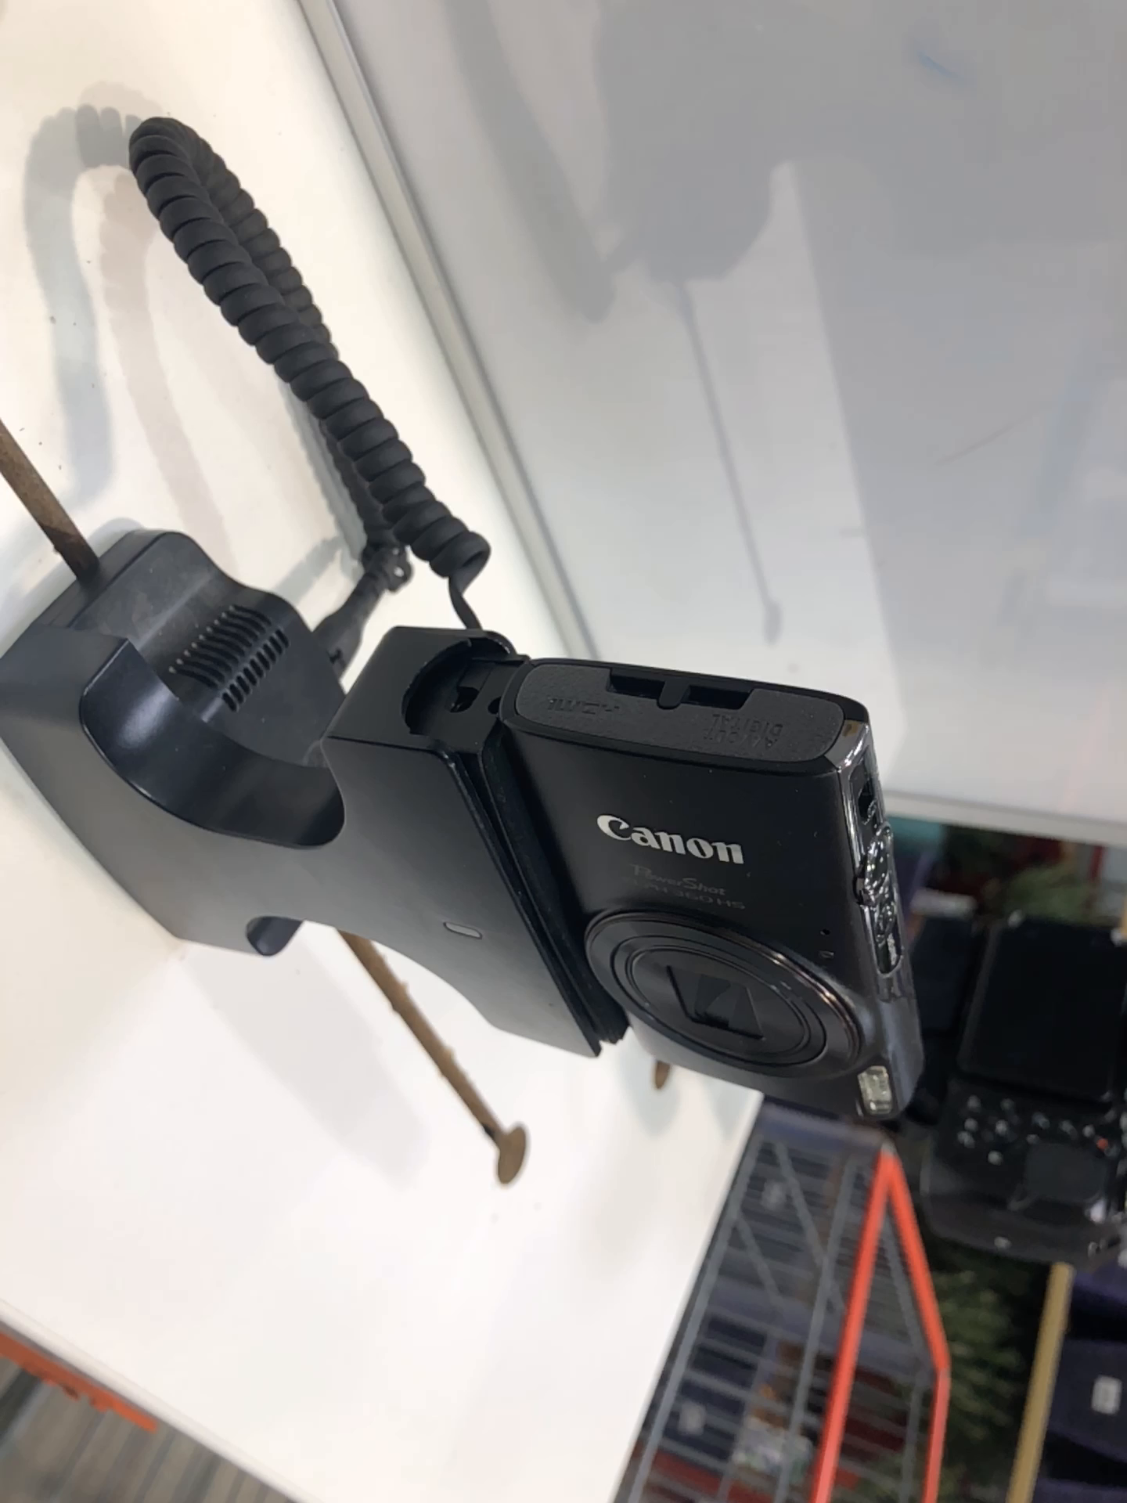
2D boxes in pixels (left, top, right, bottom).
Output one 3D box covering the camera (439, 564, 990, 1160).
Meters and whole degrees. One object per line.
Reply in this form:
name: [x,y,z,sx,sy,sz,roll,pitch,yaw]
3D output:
camera: [0.033,0.022,0.223,0.030,0.070,0.110,-59,143,-35]
